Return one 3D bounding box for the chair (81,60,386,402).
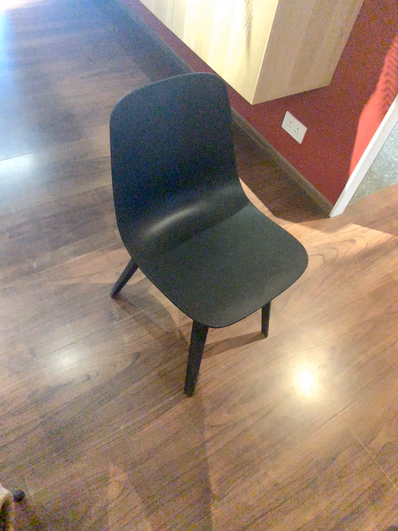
[{"bbox_3d":[0.025,-0.066,1.172,0.441,0.718,0.531,-30,63,-27],"label":"chair"}]
